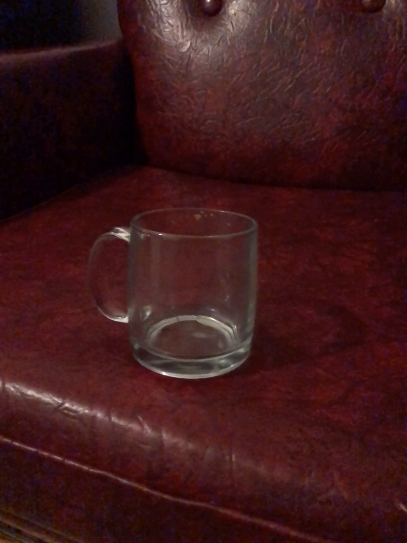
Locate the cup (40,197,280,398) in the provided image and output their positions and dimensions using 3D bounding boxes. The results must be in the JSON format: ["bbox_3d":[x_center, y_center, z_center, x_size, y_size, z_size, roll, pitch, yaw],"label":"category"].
[{"bbox_3d":[-0.023,0.008,0.301,0.128,0.090,0.090,7,20,15],"label":"cup"}]
